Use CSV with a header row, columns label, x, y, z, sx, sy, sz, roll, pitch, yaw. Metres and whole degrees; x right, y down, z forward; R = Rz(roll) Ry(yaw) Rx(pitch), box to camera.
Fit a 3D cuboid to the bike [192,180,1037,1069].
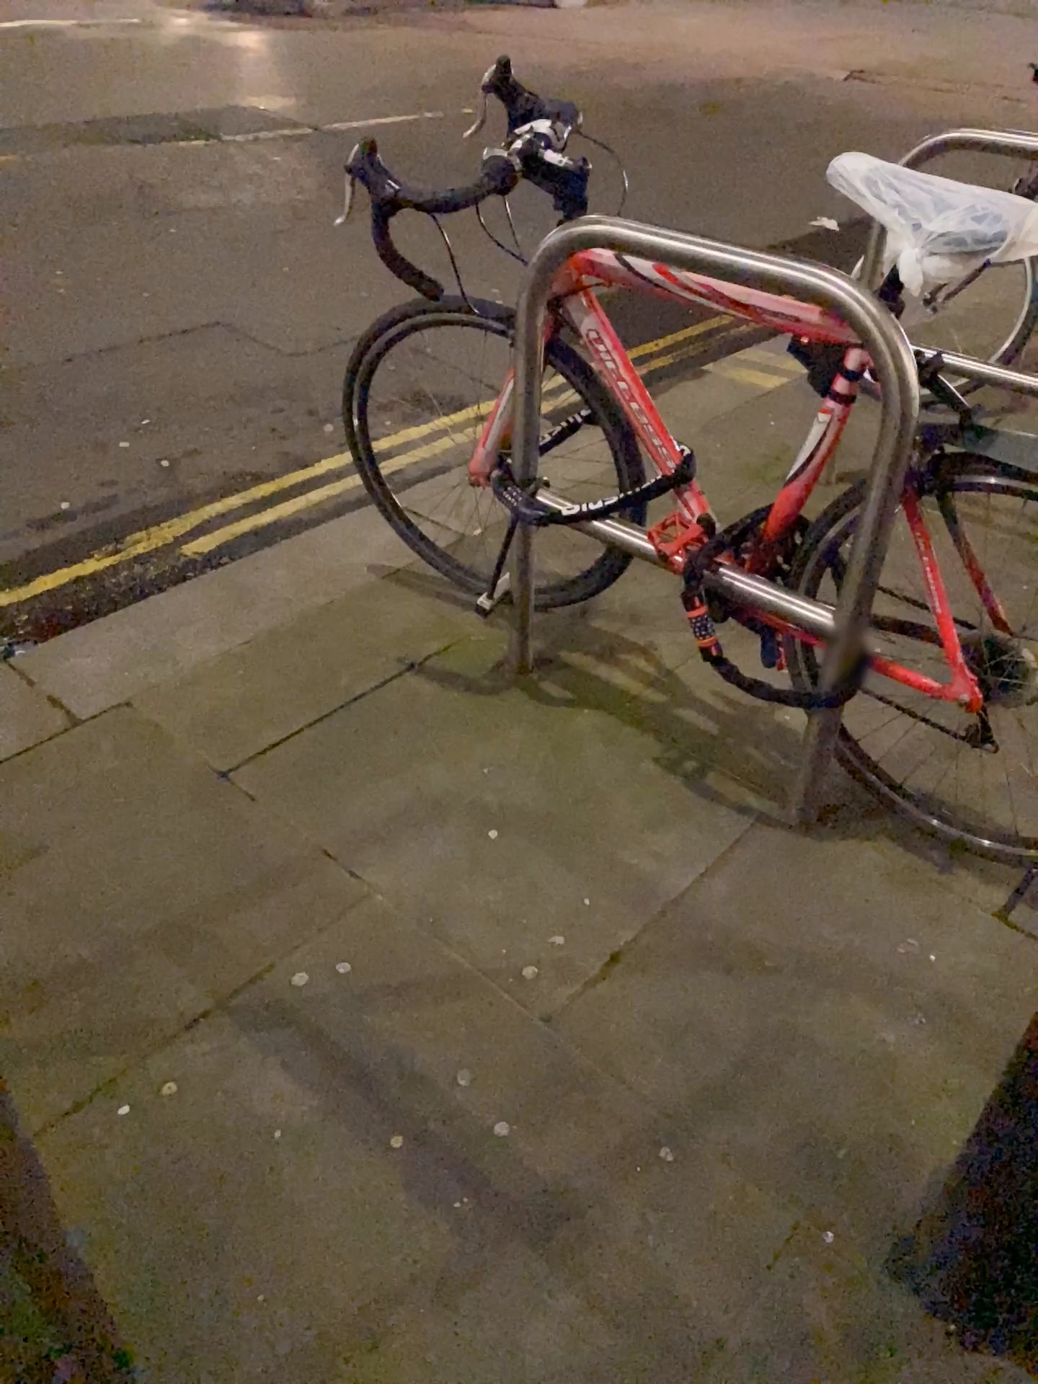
label,x,y,z,sx,sy,sz,roll,pitch,yaw
bike,0.251,-0.257,1.764,1.663,0.810,0.539,28,44,31
